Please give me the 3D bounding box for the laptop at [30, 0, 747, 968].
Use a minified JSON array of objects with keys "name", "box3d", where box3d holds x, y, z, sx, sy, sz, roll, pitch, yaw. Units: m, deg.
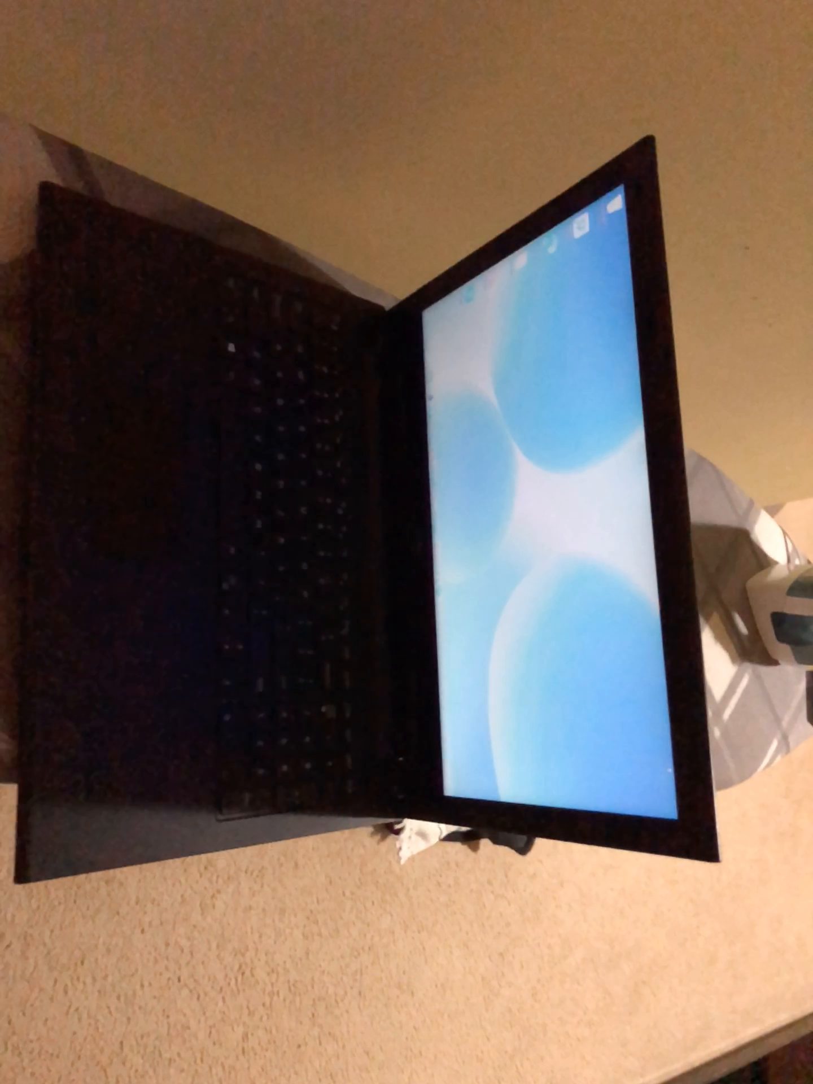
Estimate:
[{"name":"laptop","box3d":[-0.015,-0.021,0.453,0.248,0.231,0.352,7,77,-43]}]
